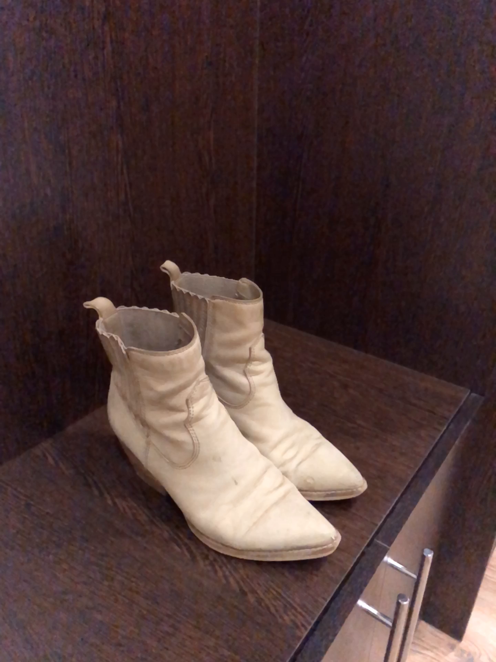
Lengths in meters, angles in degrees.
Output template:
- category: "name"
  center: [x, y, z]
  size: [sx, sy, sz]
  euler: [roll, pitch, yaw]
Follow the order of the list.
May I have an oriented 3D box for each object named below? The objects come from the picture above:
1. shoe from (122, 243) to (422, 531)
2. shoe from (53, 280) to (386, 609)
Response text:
- category: "shoe"
  center: [0.008, 0.036, 0.551]
  size: [0.280, 0.169, 0.100]
  euler: [23, 35, 36]
- category: "shoe"
  center: [-0.034, 0.081, 0.489]
  size: [0.270, 0.169, 0.100]
  euler: [20, 35, 32]
